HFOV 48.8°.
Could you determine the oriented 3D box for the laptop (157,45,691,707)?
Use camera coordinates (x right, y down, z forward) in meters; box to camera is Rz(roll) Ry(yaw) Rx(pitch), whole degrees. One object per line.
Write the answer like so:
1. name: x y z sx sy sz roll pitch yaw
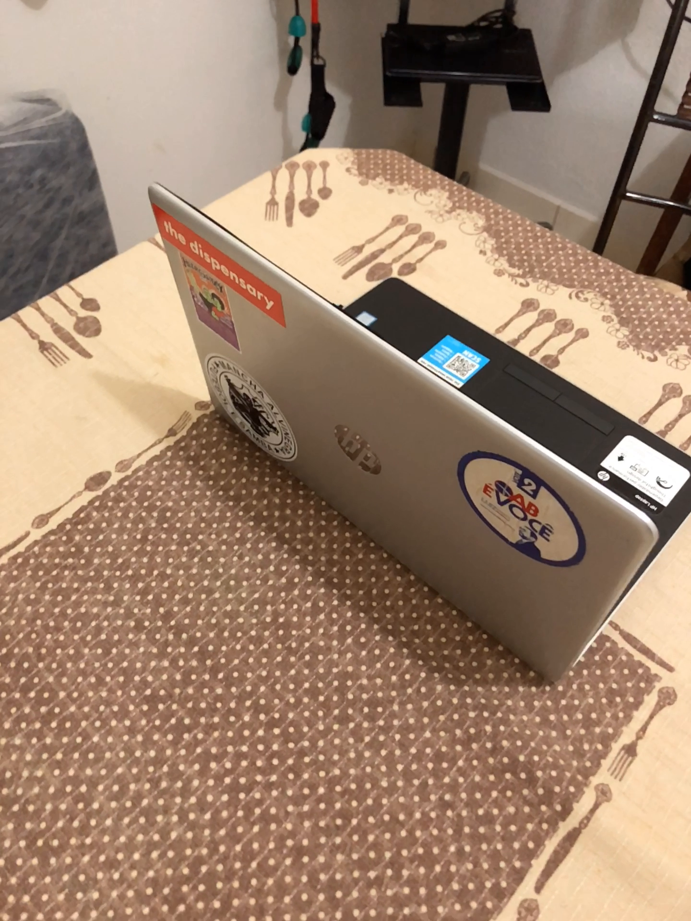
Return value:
1. laptop: 0.098 -0.081 0.557 0.360 0.226 0.268 37 60 23
